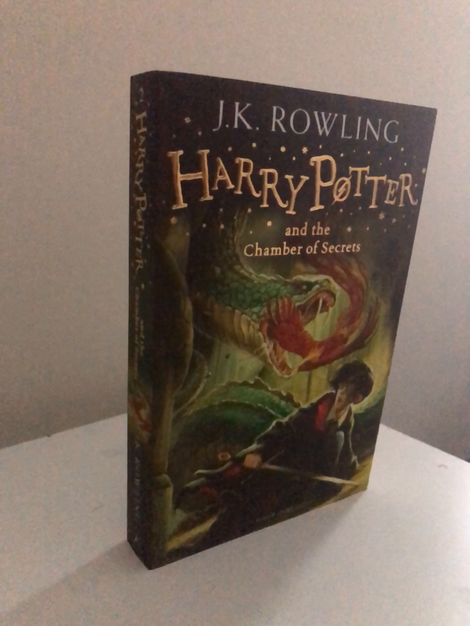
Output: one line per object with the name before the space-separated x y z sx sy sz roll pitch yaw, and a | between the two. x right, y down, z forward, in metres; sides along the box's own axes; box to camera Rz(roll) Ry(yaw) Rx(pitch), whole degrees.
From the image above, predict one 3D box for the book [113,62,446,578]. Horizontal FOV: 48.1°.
book | 0.016 0.004 0.233 0.130 0.190 0.039 -6 21 -31
